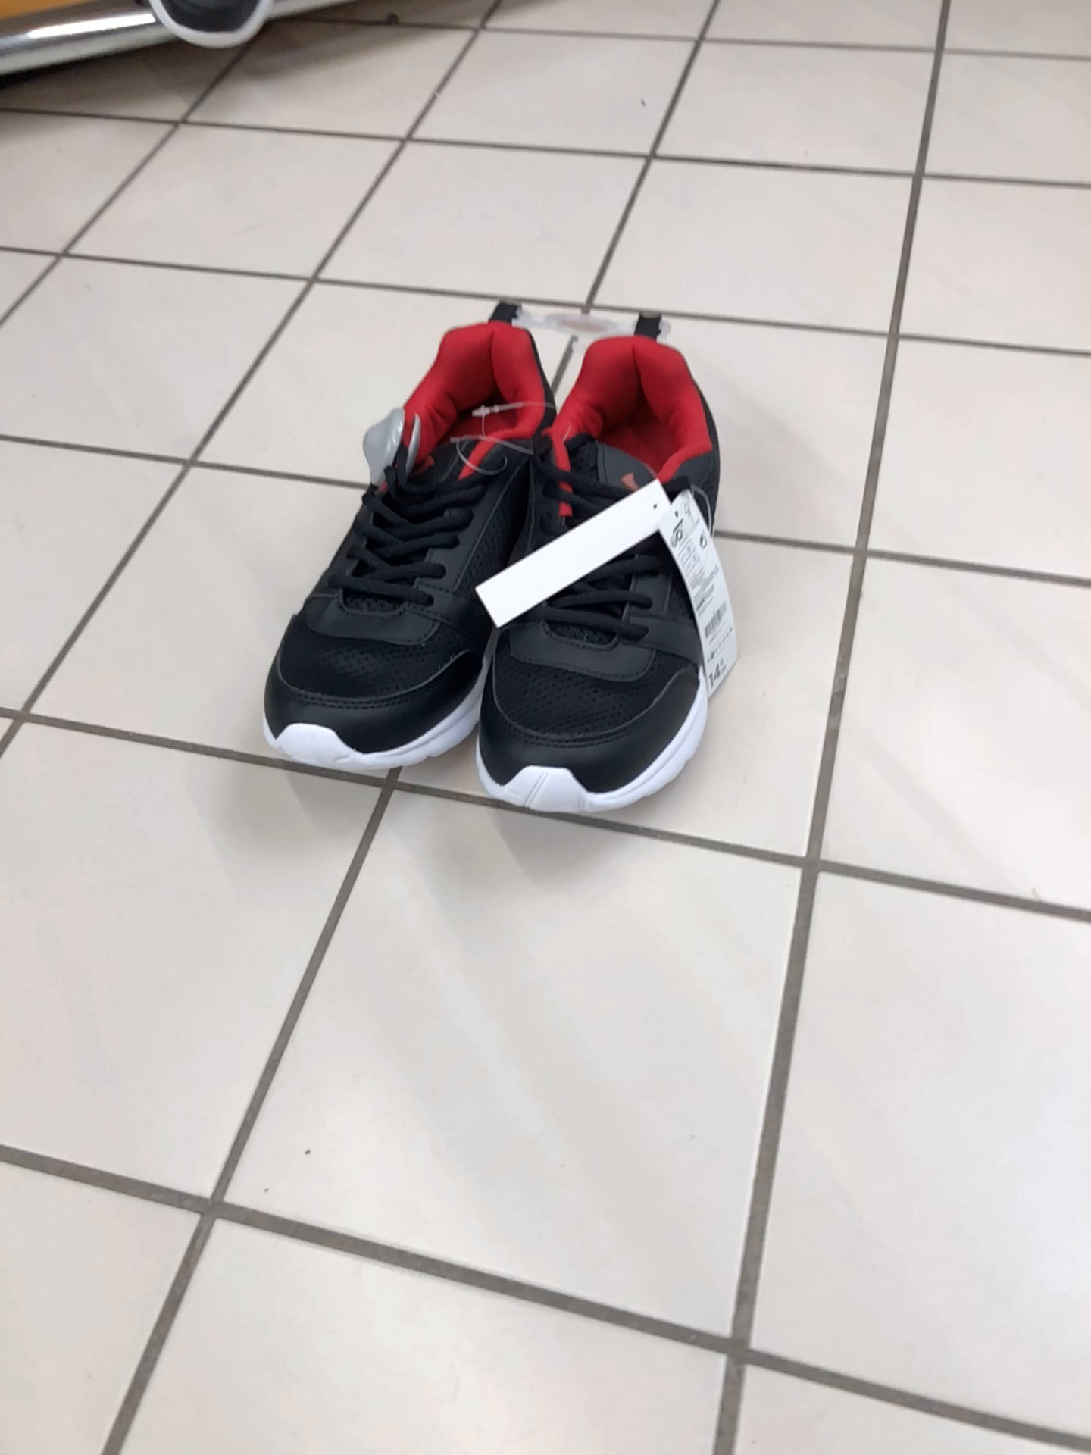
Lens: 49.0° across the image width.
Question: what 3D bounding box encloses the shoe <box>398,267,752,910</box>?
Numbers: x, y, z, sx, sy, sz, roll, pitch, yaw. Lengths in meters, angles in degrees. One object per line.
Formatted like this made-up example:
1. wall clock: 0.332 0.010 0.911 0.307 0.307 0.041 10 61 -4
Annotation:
1. shoe: 0.029 -0.080 0.581 0.100 0.129 0.296 7 53 11

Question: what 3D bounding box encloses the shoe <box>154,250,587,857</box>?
1. shoe: -0.065 -0.098 0.599 0.100 0.129 0.286 10 53 12
